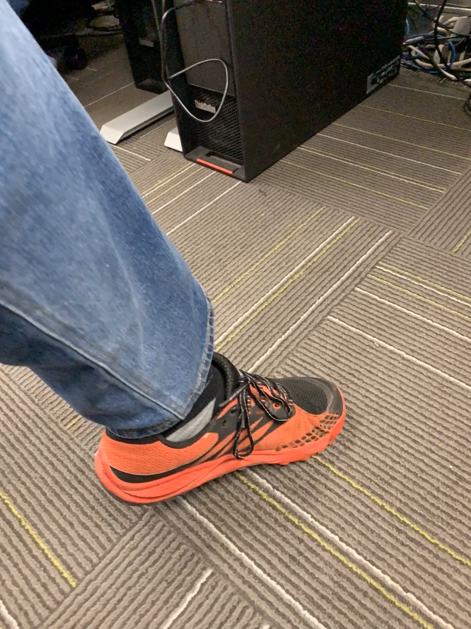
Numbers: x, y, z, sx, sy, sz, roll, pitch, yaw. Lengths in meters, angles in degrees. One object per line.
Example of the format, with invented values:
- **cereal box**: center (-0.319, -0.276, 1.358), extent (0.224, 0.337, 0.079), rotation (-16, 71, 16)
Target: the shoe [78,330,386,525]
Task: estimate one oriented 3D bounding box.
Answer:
- **shoe**: center (-0.001, 0.108, 0.549), extent (0.314, 0.106, 0.127), rotation (-4, 32, -30)
